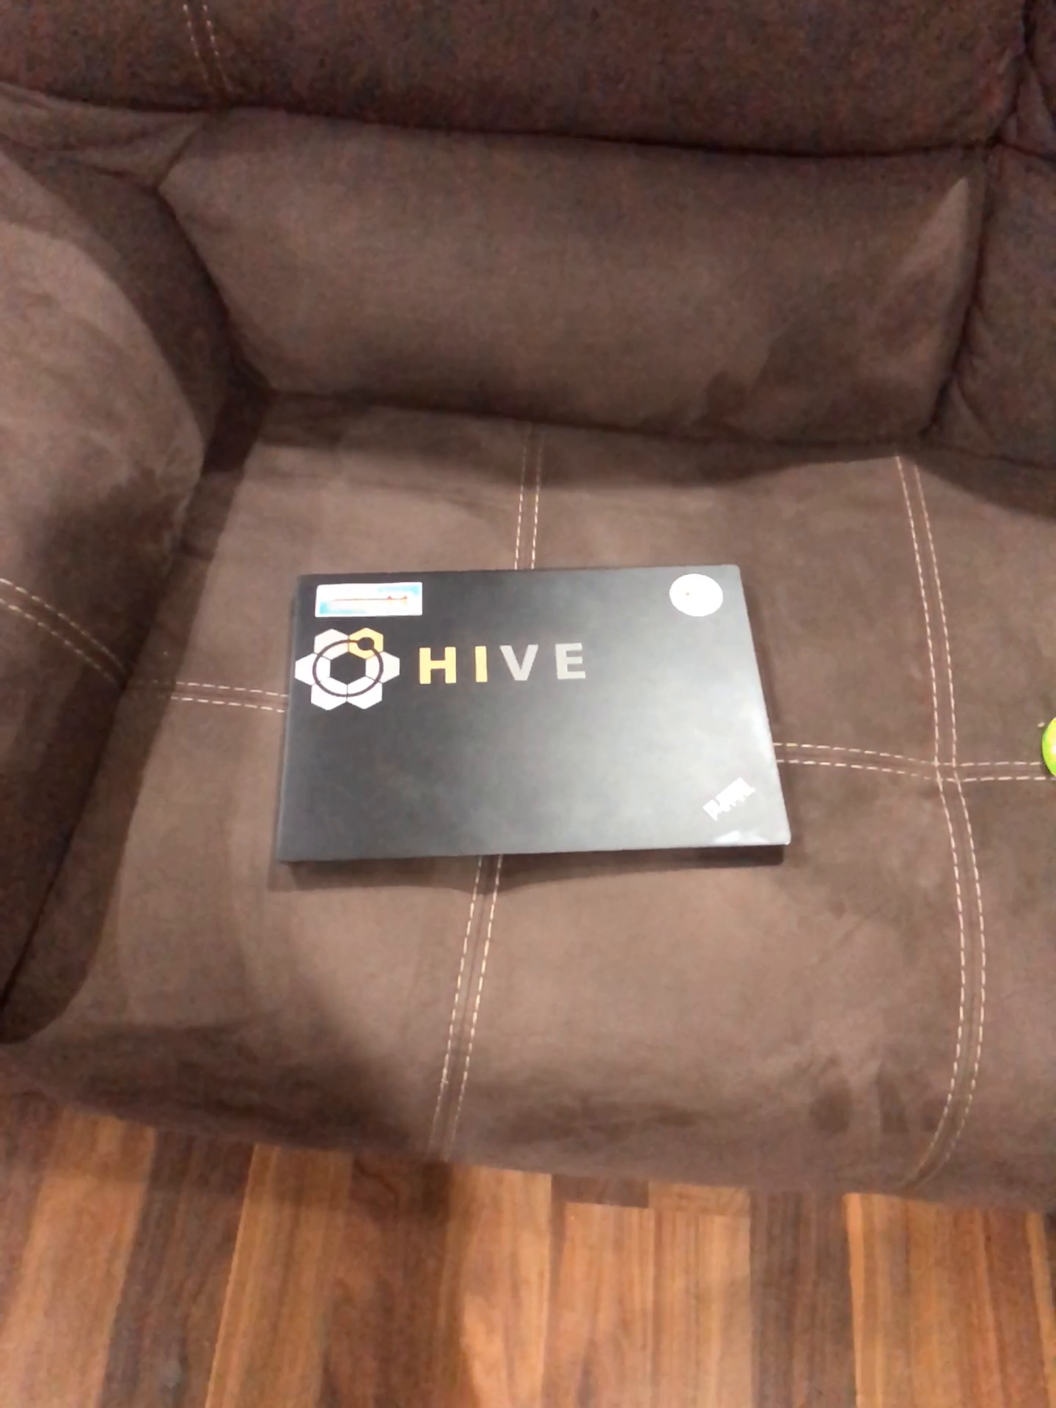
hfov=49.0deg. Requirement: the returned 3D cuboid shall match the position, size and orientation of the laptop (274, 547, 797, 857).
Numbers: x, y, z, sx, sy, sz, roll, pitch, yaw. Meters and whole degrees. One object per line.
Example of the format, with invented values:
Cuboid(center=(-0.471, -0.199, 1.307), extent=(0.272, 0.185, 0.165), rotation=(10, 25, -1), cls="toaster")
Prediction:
Cuboid(center=(0.000, -0.009, 0.800), extent=(0.328, 0.019, 0.236), rotation=(-2, 56, -1), cls="laptop")
